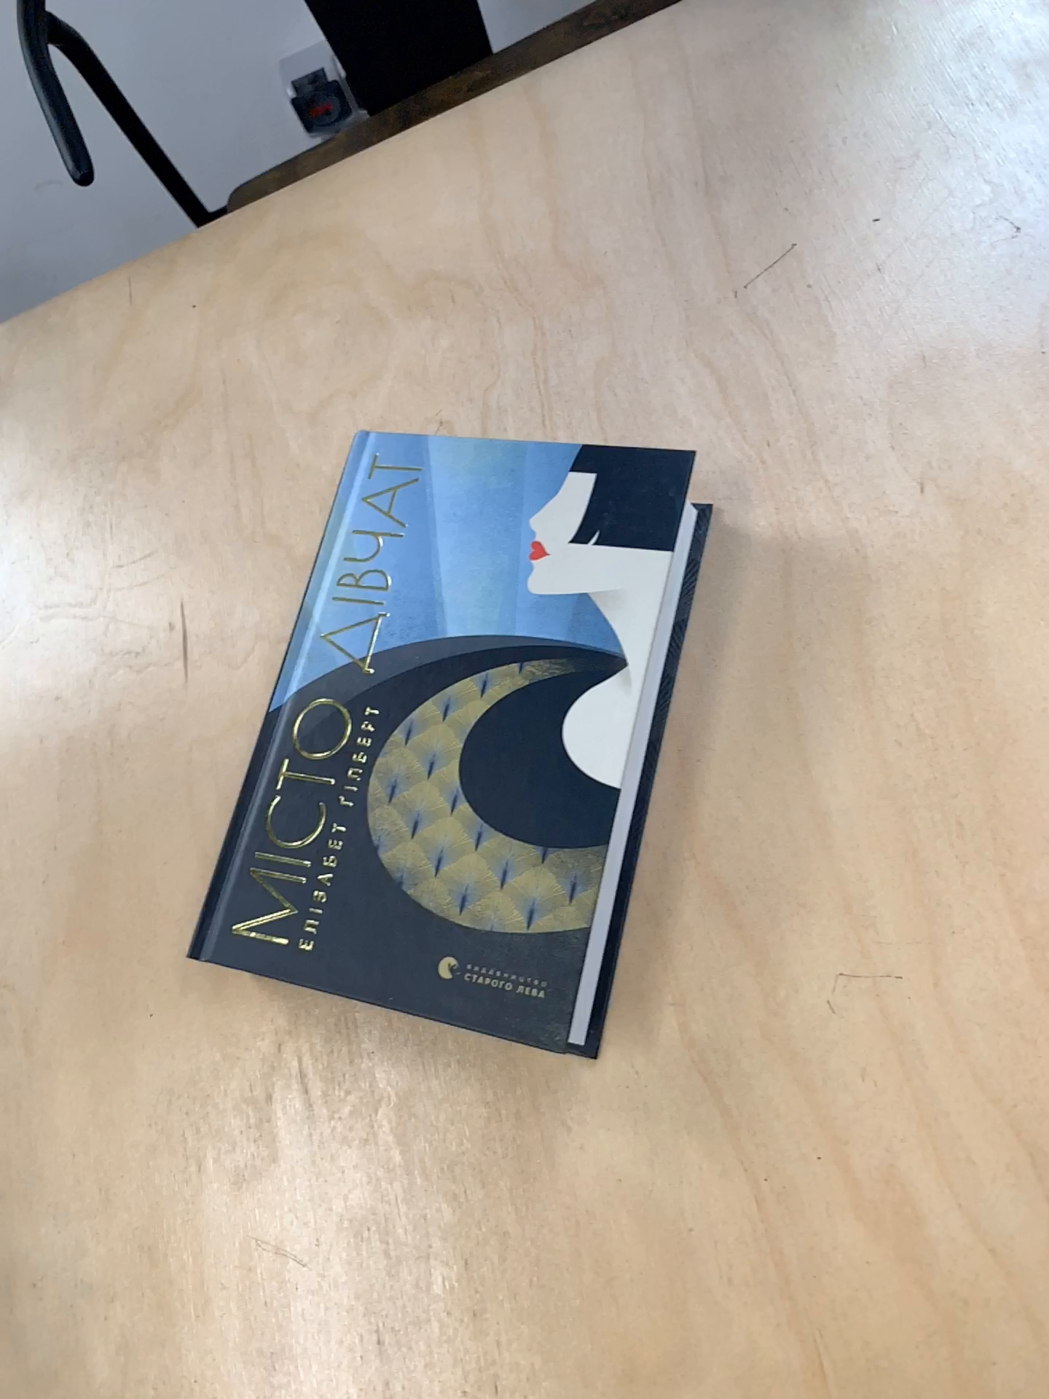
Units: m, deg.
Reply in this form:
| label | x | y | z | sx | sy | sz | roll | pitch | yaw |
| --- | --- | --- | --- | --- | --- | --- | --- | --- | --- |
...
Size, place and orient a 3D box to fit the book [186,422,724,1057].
| label | x | y | z | sx | sy | sz | roll | pitch | yaw |
| --- | --- | --- | --- | --- | --- | --- | --- | --- | --- |
| book | -0.019 | 0.005 | 0.372 | 0.135 | 0.043 | 0.197 | 8 | 74 | 21 |
